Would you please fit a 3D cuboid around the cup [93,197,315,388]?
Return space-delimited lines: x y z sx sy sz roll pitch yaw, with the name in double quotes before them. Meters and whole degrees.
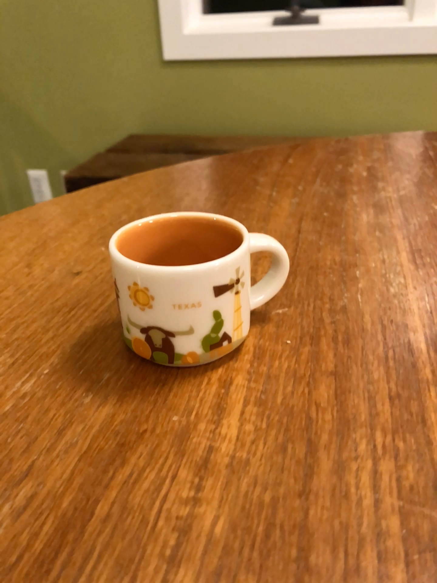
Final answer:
"cup" -0.008 -0.004 0.222 0.080 0.049 0.060 -13 31 -17
